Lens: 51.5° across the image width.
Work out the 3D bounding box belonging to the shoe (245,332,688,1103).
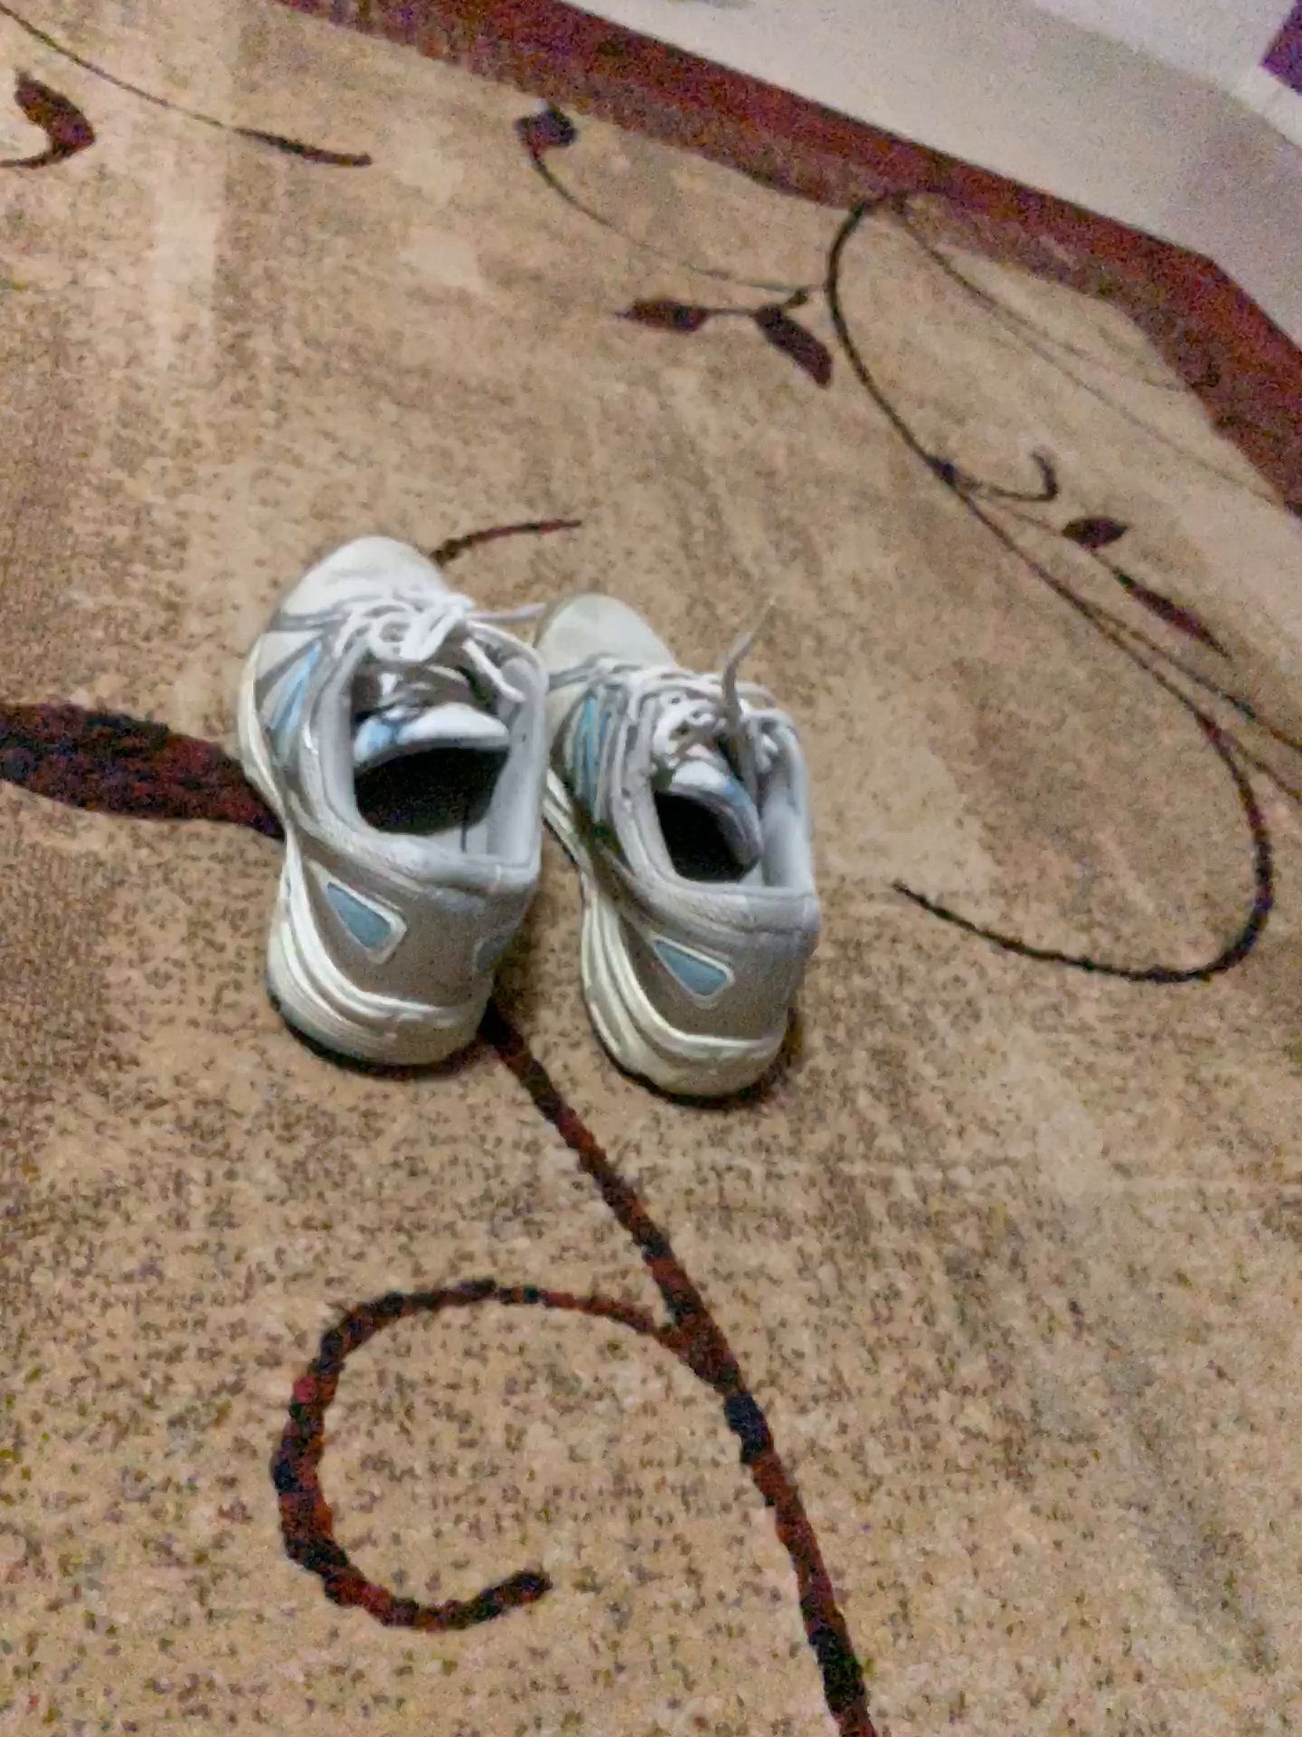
[{"bbox_3d":[-0.088,-0.067,0.523,0.111,0.124,0.284,7,45,-23],"label":"shoe"}]

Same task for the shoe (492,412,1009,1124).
[{"bbox_3d":[0.021,-0.049,0.566,0.104,0.124,0.284,6,46,-25],"label":"shoe"}]
